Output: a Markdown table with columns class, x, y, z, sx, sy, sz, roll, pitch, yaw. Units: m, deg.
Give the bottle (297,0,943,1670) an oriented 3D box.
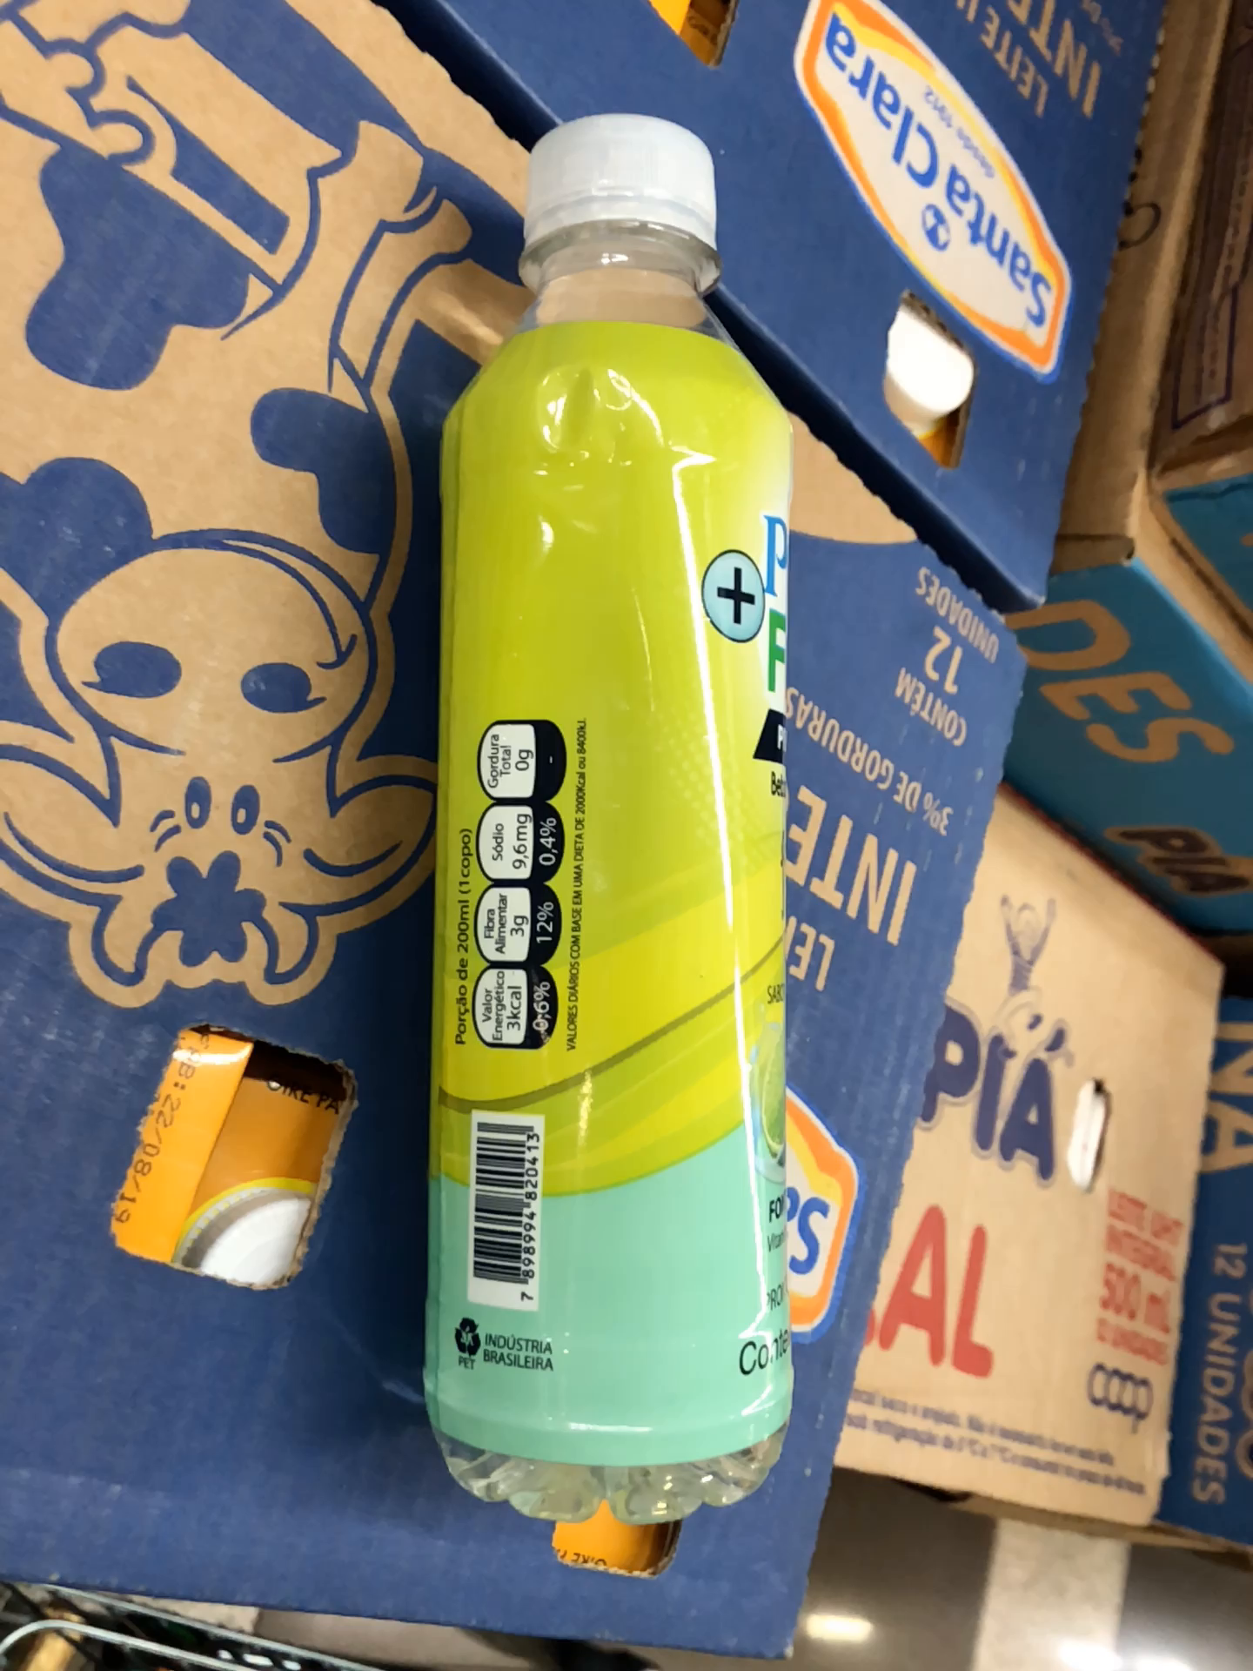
| class | x | y | z | sx | sy | sz | roll | pitch | yaw |
| --- | --- | --- | --- | --- | --- | --- | --- | --- | --- |
| bottle | -0.004 | -0.021 | 0.220 | 0.070 | 0.060 | 0.250 | 3 | 82 | -43 |
